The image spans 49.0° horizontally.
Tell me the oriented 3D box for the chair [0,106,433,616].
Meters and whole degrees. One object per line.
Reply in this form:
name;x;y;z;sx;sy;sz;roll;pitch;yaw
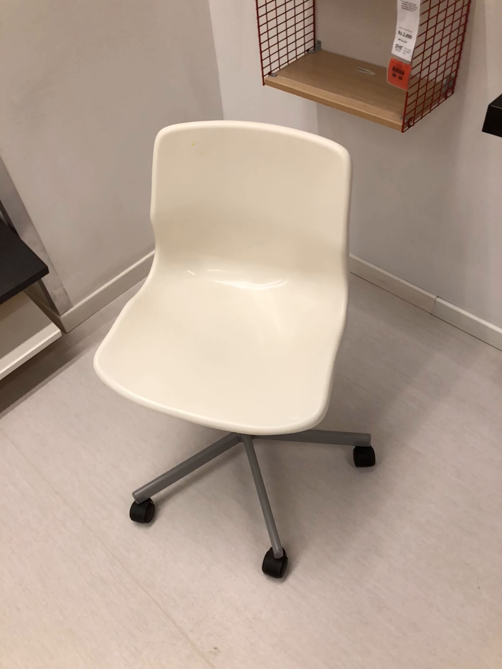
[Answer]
chair;-0.050;0.049;1.105;0.621;0.686;0.623;12;52;16
